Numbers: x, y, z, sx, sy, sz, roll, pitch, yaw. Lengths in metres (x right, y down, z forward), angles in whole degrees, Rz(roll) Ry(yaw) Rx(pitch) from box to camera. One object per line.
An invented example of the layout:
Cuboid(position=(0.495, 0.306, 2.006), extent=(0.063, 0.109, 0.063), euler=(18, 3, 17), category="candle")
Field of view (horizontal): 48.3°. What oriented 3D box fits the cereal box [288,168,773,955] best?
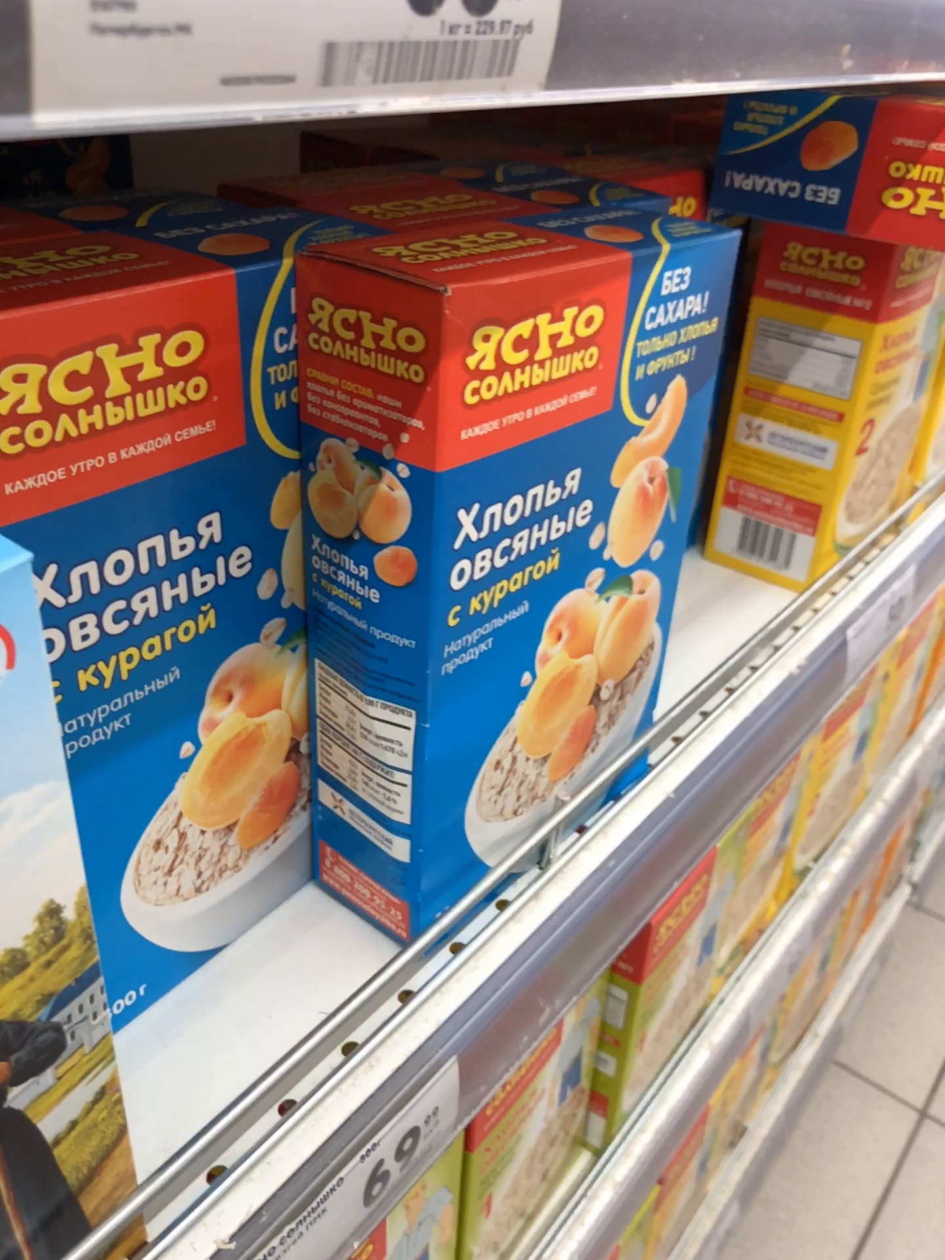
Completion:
Cuboid(position=(0.019, -0.026, 0.337), extent=(0.050, 0.209, 0.151), euler=(25, 37, 33), category="cereal box")
